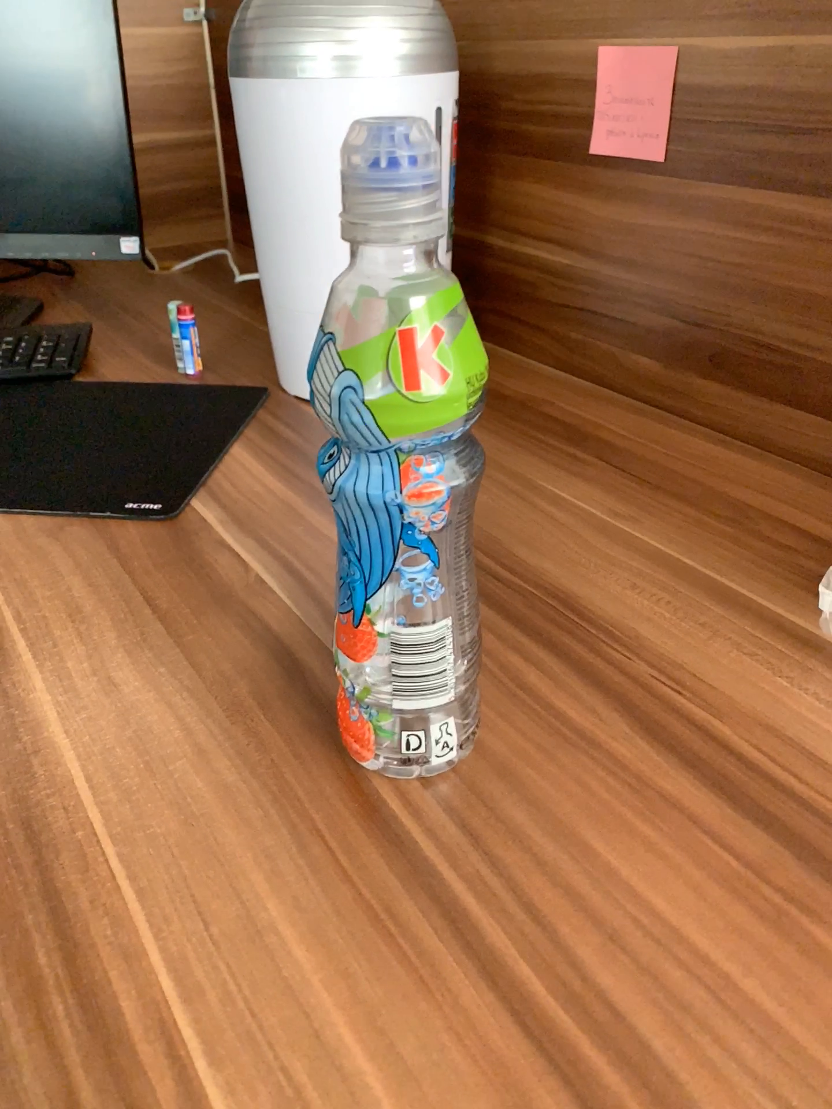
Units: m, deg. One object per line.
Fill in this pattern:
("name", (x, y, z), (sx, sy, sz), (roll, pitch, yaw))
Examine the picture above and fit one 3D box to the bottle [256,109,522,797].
("bottle", (-0.009, -0.026, 0.315), (0.070, 0.239, 0.070), (-1, 31, 1))
